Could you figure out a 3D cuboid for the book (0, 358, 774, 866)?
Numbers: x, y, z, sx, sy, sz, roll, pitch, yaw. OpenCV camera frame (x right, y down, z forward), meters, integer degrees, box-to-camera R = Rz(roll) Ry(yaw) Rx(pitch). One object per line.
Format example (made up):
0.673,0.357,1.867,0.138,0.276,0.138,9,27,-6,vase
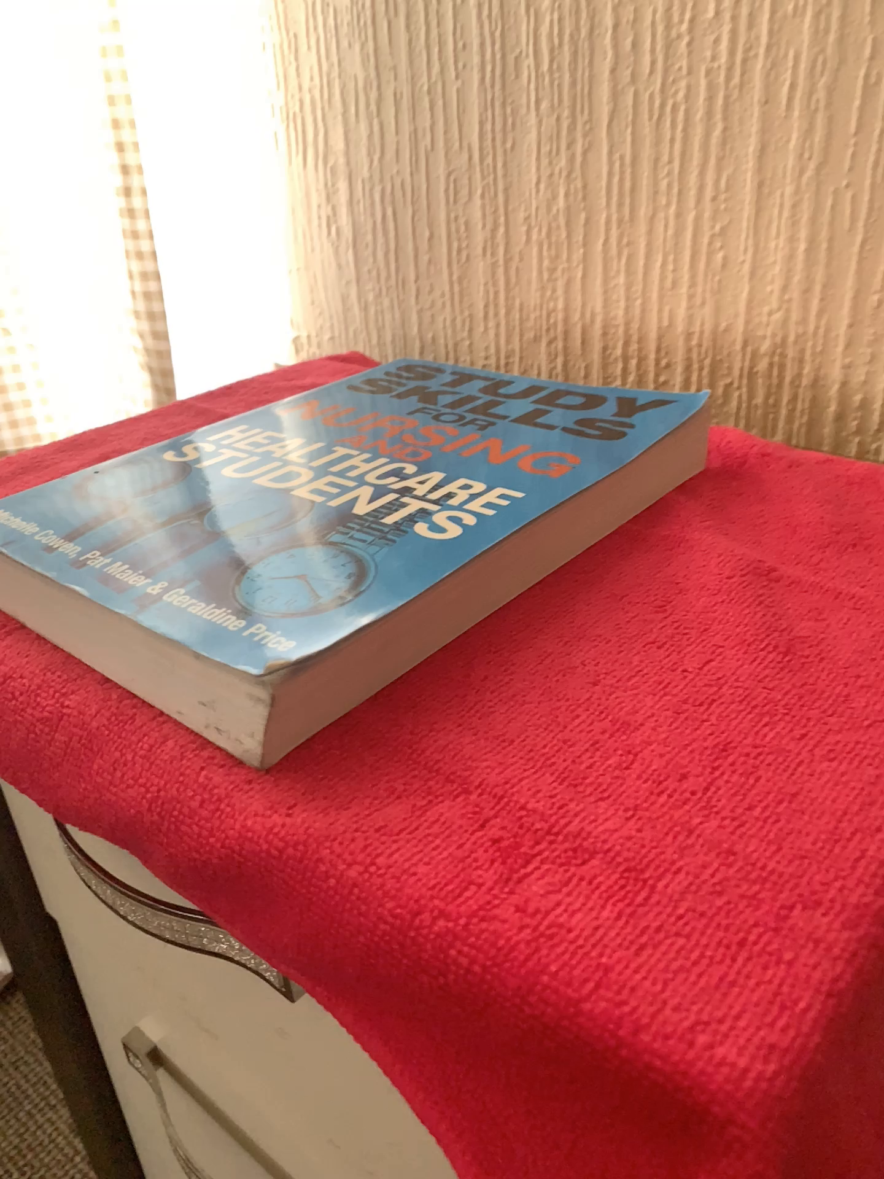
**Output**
-0.023,-0.031,0.352,0.201,0.040,0.271,19,33,34,book
